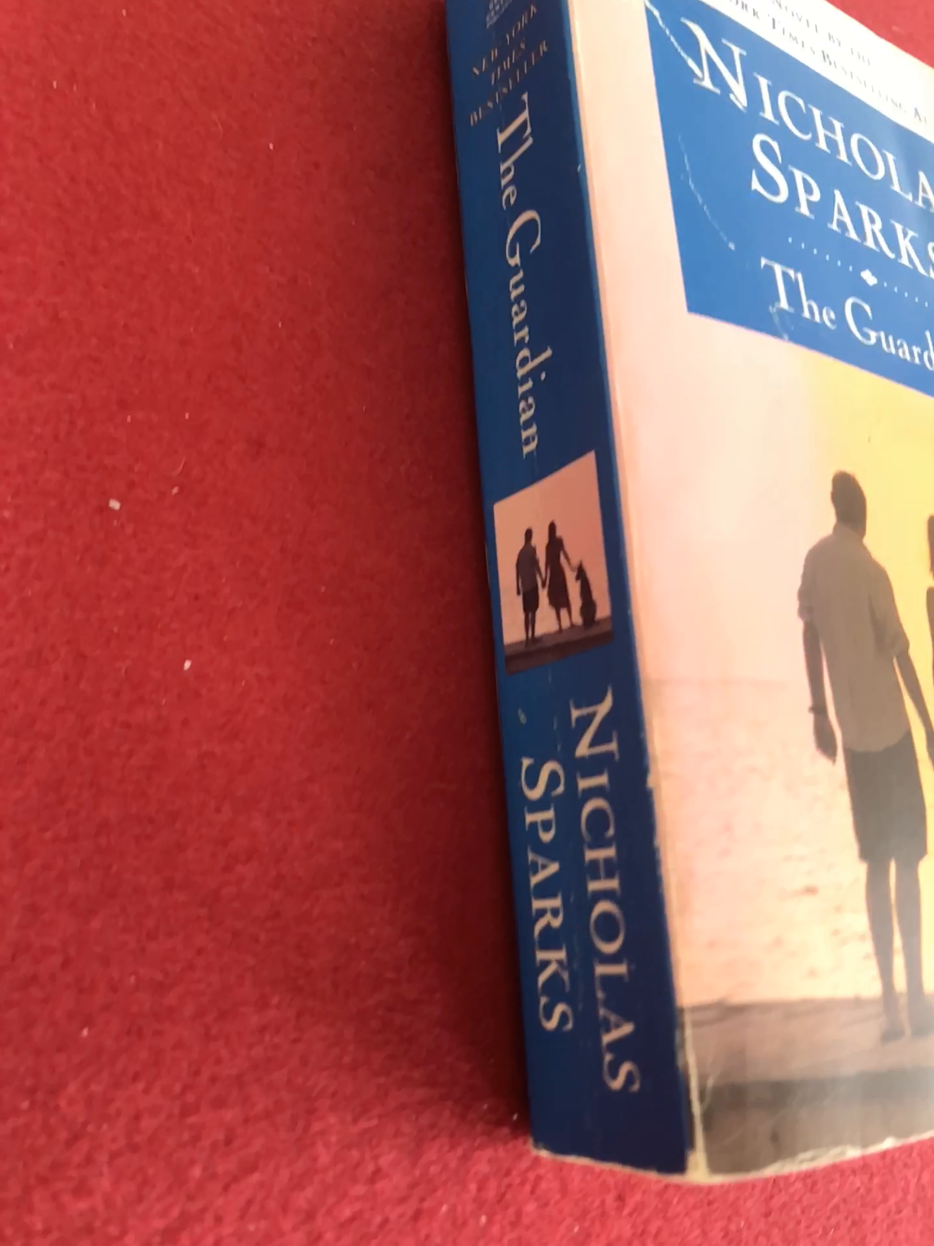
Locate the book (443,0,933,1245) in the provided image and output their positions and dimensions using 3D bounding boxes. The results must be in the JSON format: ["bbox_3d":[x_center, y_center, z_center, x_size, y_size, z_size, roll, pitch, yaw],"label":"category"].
[{"bbox_3d":[0.056,-0.018,0.154,0.111,0.030,0.170,8,68,-33],"label":"book"}]
